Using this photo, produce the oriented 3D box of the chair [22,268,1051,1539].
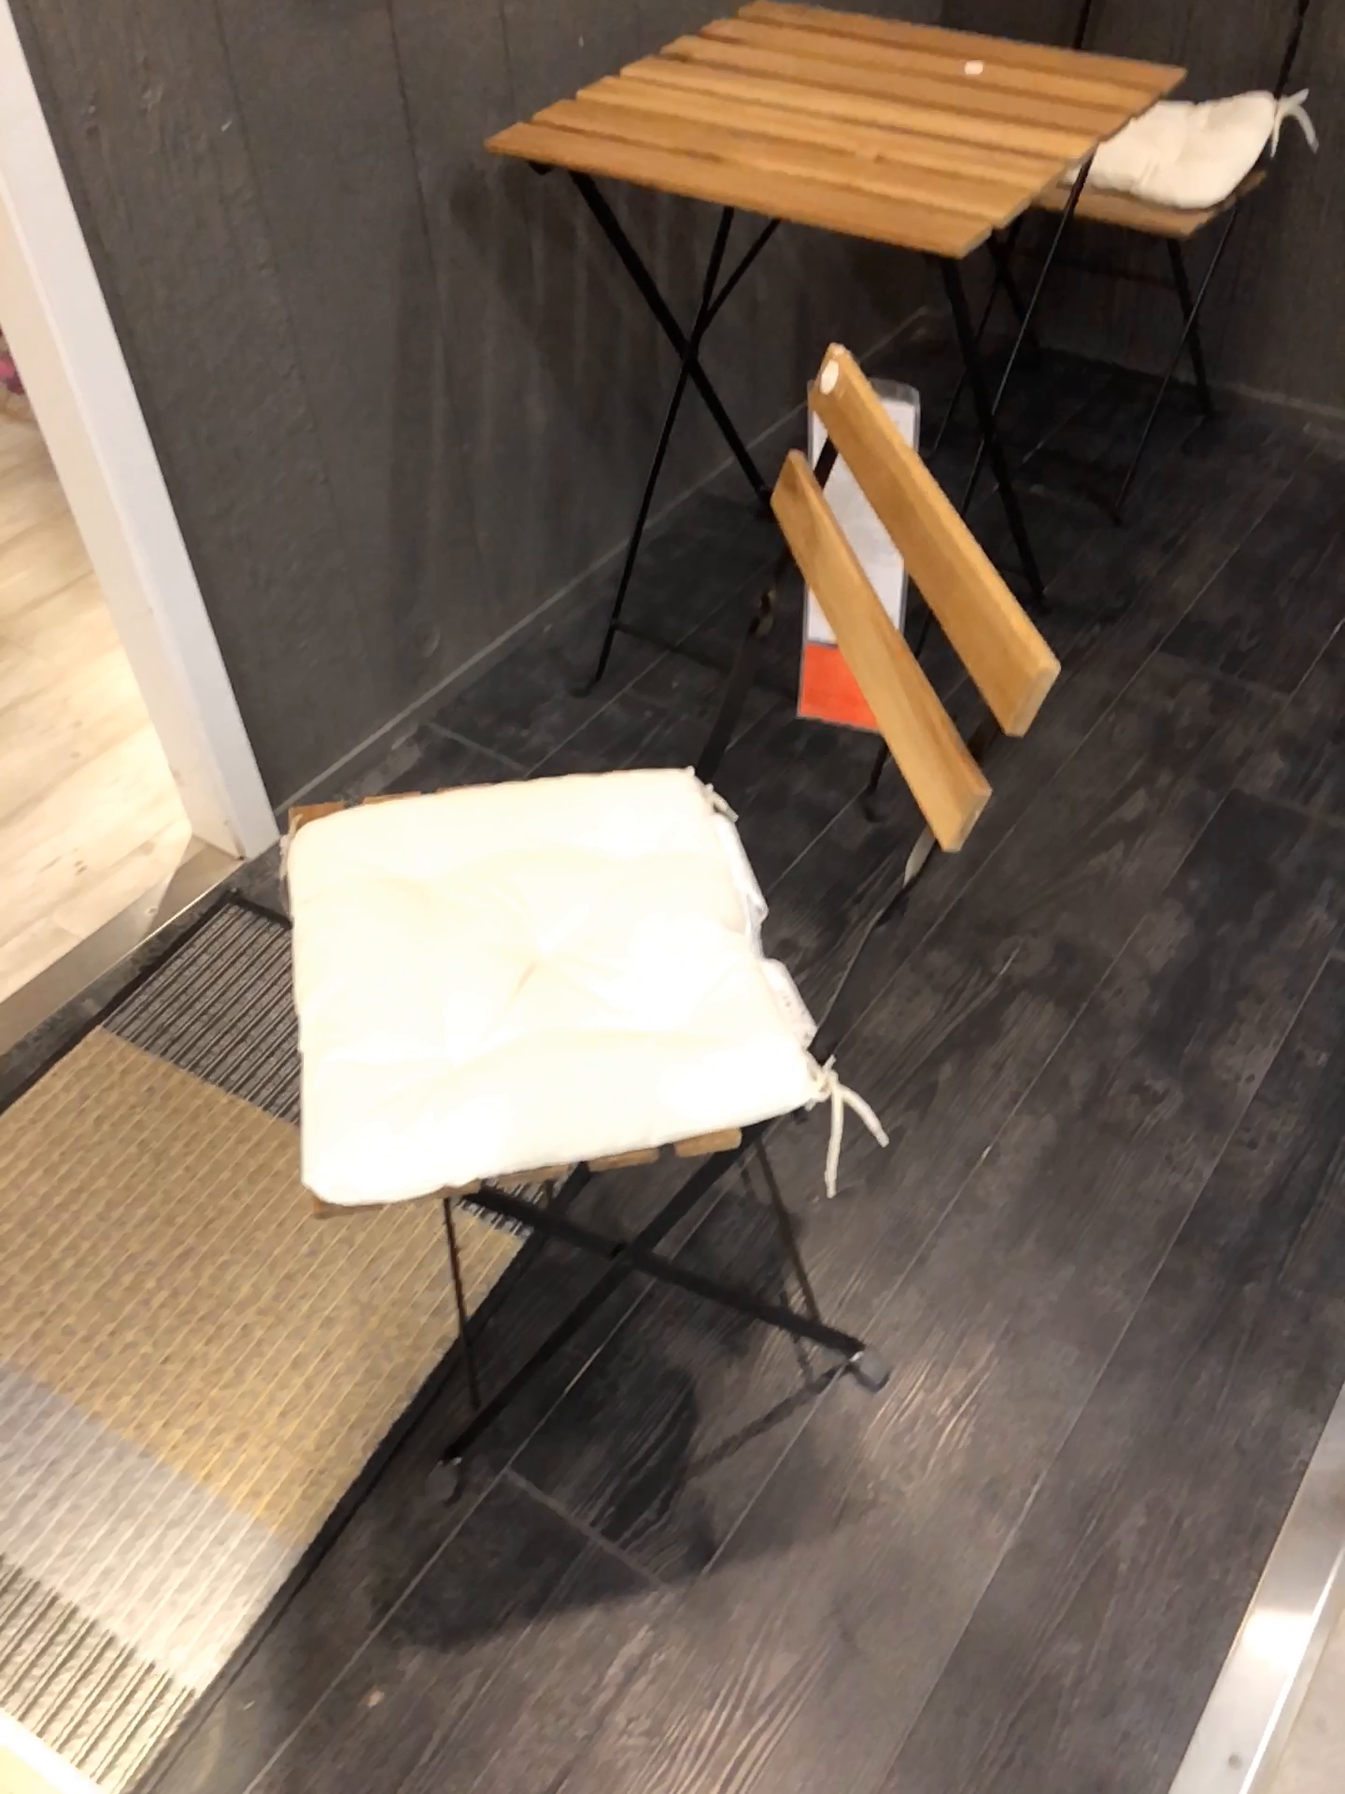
[{"bbox_3d":[-0.081,0.040,1.079,0.460,0.757,0.452,-10,45,-7],"label":"chair"}]
